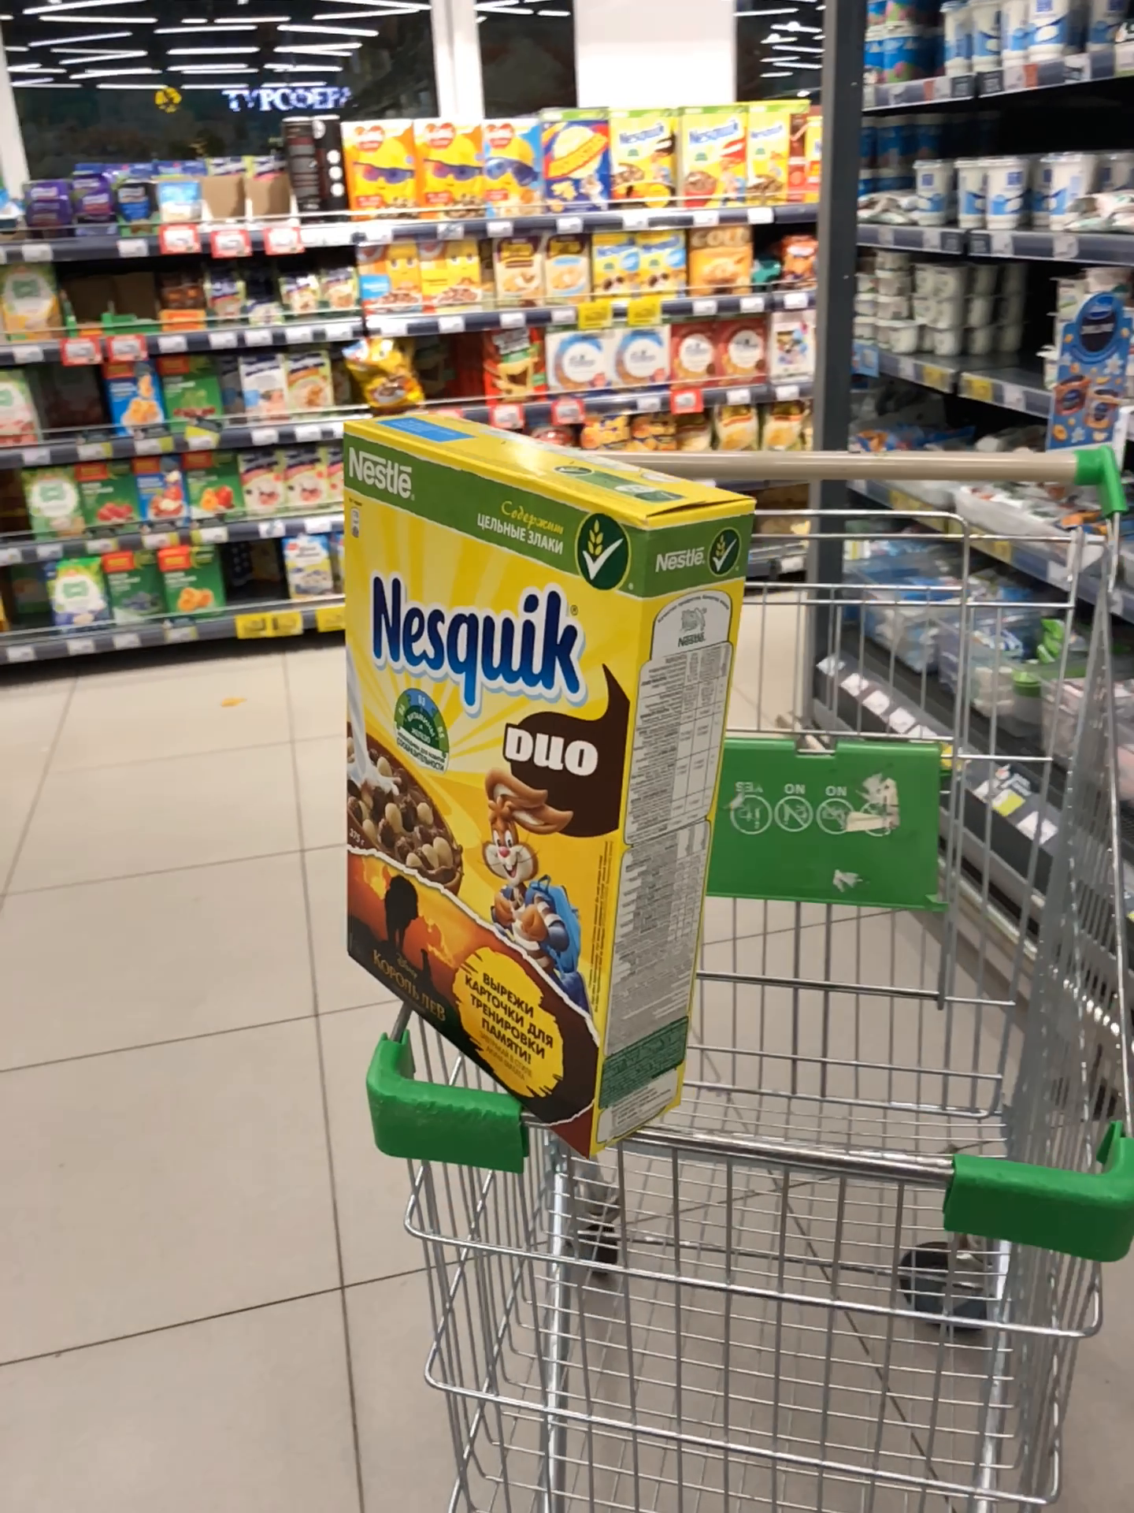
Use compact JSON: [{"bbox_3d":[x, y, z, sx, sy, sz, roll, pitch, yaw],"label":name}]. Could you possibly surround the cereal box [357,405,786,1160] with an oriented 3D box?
[{"bbox_3d":[-0.015,0.002,0.560,0.060,0.279,0.201,-15,30,-37],"label":"cereal box"}]
